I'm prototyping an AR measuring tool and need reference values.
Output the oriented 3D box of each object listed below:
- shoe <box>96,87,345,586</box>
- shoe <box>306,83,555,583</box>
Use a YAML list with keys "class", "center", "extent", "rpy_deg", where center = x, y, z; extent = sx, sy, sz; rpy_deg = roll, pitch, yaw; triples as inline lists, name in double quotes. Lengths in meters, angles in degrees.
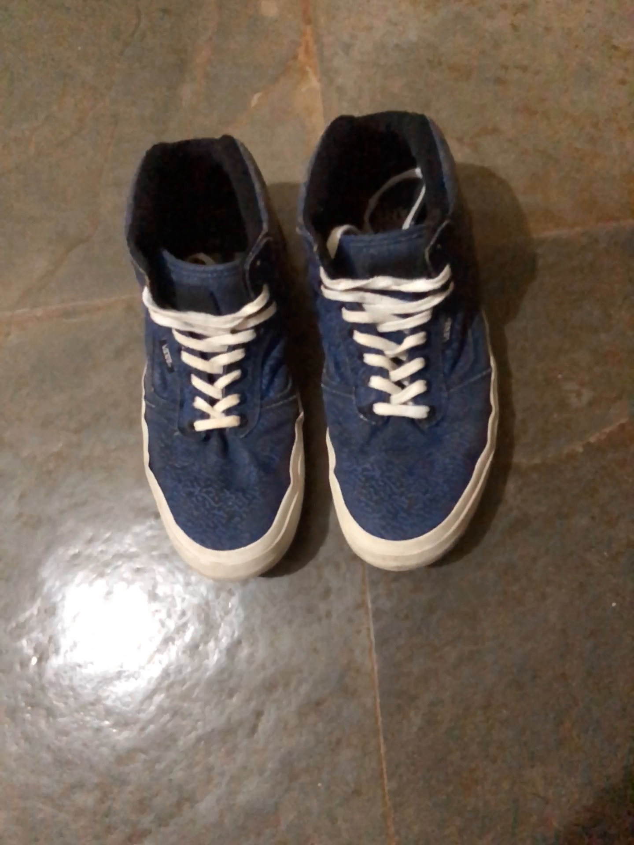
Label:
- class: "shoe"
  center: [-0.057, -0.045, 0.442]
  extent: [0.120, 0.110, 0.280]
  rpy_deg: [-5, 77, 6]
- class: "shoe"
  center: [0.060, -0.048, 0.425]
  extent: [0.120, 0.090, 0.280]
  rpy_deg: [-2, 77, 7]
